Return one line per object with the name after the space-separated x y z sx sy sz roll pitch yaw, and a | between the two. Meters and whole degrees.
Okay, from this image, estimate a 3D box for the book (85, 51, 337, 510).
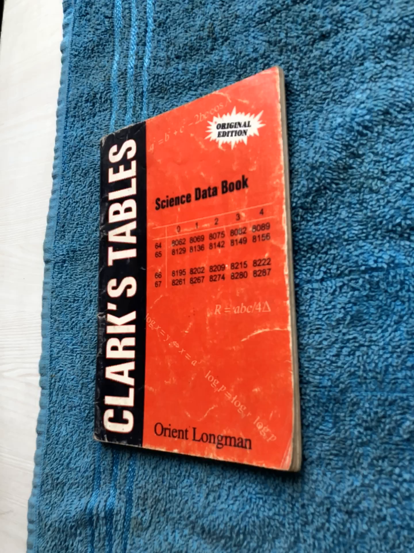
-0.006 0.003 0.224 0.121 0.030 0.180 -7 79 35 | book
